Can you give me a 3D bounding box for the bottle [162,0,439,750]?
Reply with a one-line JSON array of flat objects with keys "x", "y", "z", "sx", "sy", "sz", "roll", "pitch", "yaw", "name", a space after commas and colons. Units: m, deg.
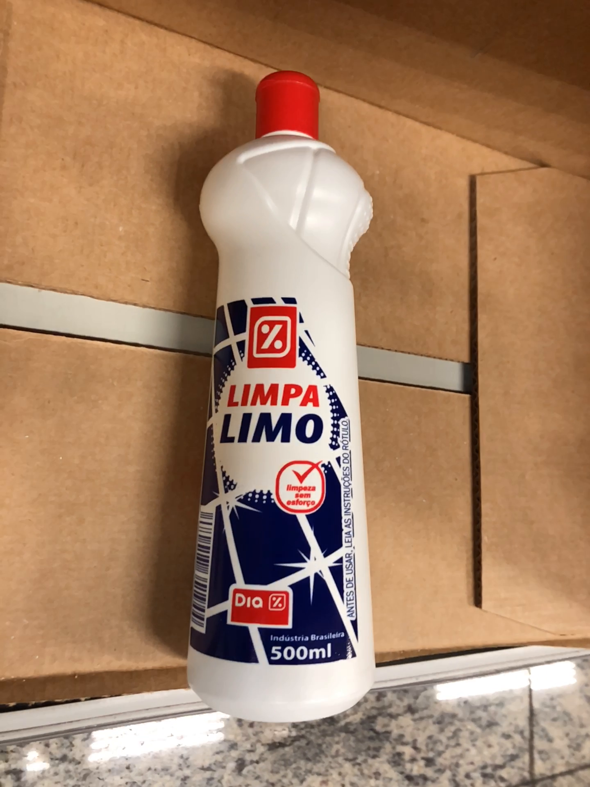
[{"x": 0.001, "y": -0.022, "z": 0.247, "sx": 0.080, "sy": 0.060, "sz": 0.260, "roll": 3, "pitch": 84, "yaw": -27, "name": "bottle"}]
